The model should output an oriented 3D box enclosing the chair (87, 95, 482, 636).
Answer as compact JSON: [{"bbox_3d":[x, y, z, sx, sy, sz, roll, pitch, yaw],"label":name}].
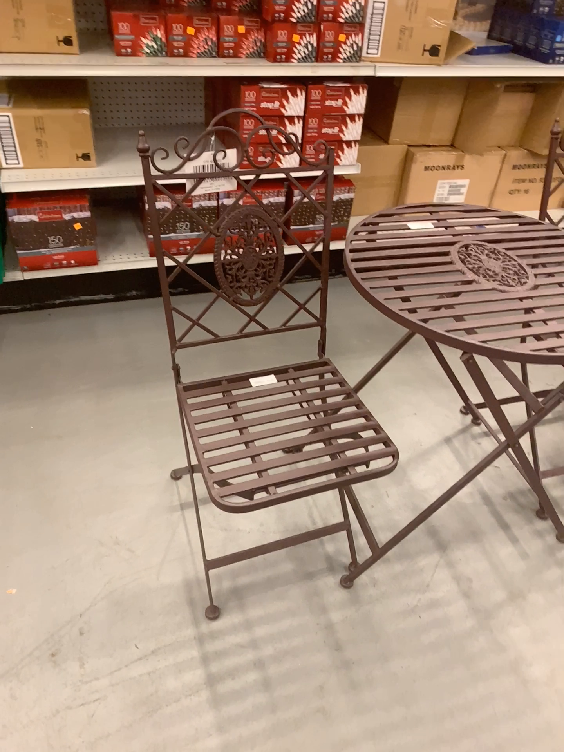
[{"bbox_3d":[-0.073,-0.016,1.127,0.422,0.839,0.566,-10,43,-18],"label":"chair"}]
